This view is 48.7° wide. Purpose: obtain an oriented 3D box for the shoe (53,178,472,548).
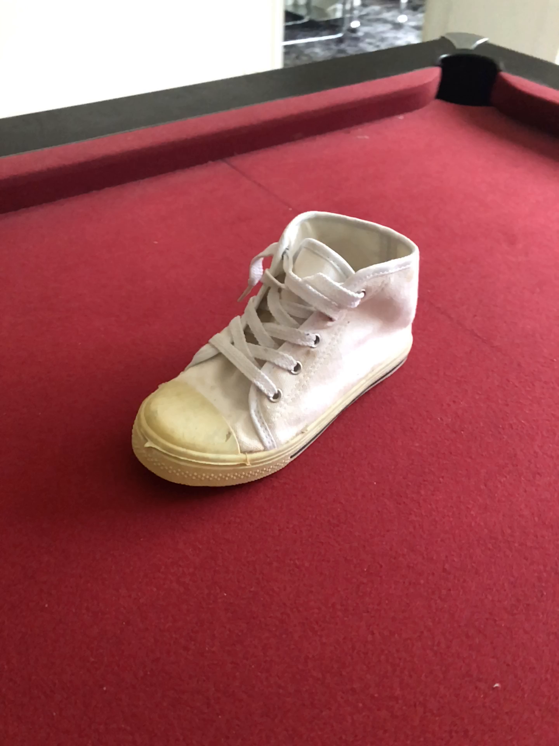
[{"bbox_3d":[0.003,-0.023,0.361,0.100,0.089,0.221,32,49,30],"label":"shoe"}]
